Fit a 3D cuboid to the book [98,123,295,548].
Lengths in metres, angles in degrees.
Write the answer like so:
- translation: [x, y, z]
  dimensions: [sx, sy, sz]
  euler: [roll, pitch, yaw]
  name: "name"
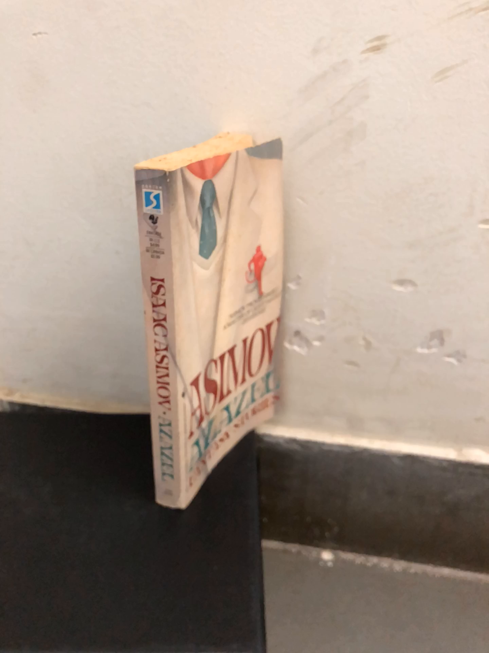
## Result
- translation: [-0.010, -0.006, 0.309]
  dimensions: [0.030, 0.189, 0.151]
  euler: [8, 27, 22]
  name: "book"
